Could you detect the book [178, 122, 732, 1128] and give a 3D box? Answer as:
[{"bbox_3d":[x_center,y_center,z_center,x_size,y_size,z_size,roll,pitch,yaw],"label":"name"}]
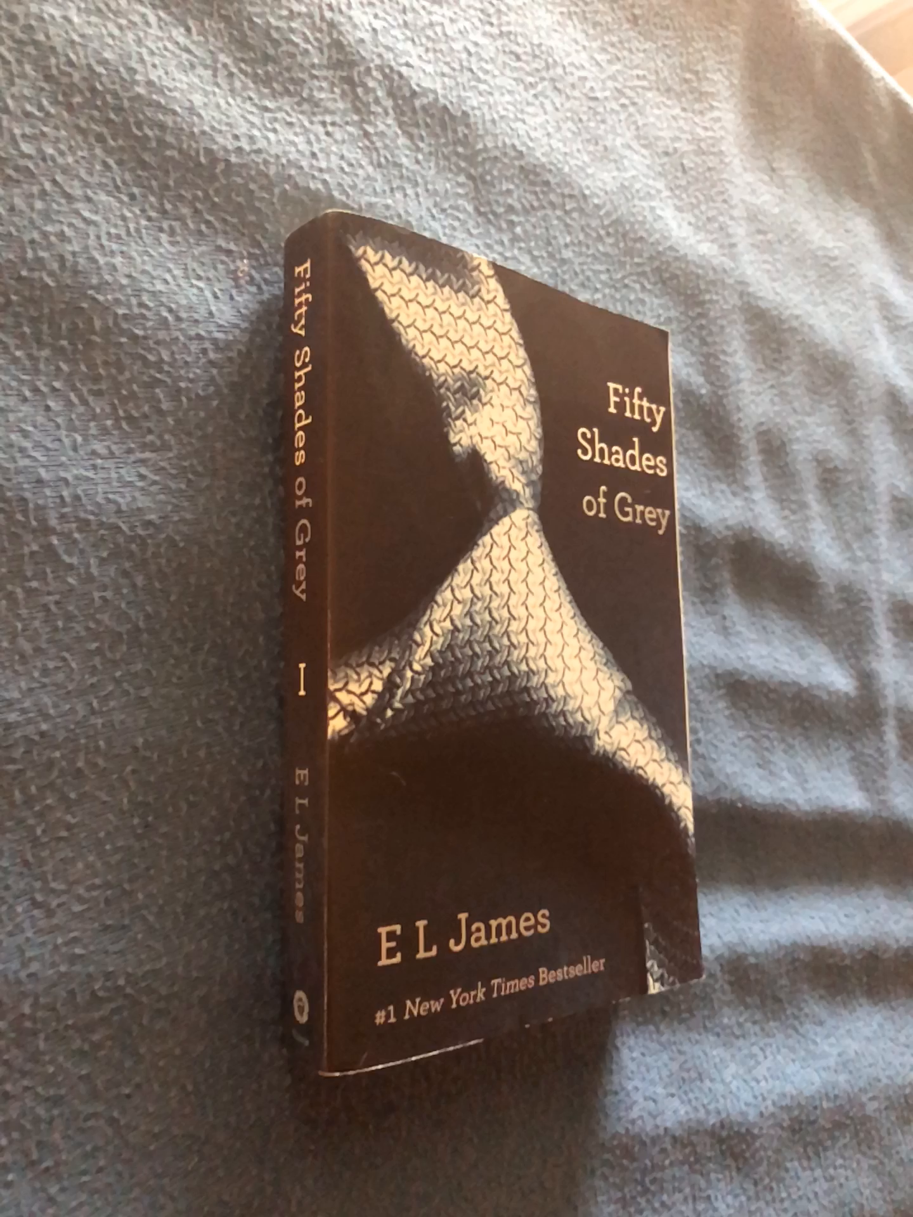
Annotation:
[{"bbox_3d":[0.005,0.003,0.274,0.151,0.040,0.210,4,80,-40],"label":"book"}]
